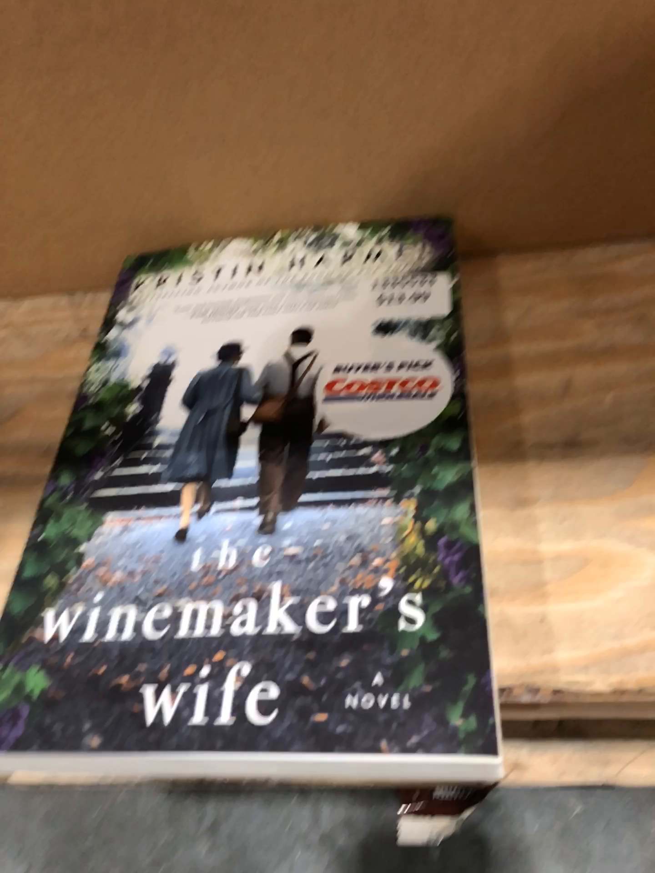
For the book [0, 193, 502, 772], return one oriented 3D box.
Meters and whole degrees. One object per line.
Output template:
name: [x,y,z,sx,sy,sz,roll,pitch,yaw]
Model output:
book: [-0.026,-0.002,0.270,0.154,0.035,0.229,-5,48,11]
